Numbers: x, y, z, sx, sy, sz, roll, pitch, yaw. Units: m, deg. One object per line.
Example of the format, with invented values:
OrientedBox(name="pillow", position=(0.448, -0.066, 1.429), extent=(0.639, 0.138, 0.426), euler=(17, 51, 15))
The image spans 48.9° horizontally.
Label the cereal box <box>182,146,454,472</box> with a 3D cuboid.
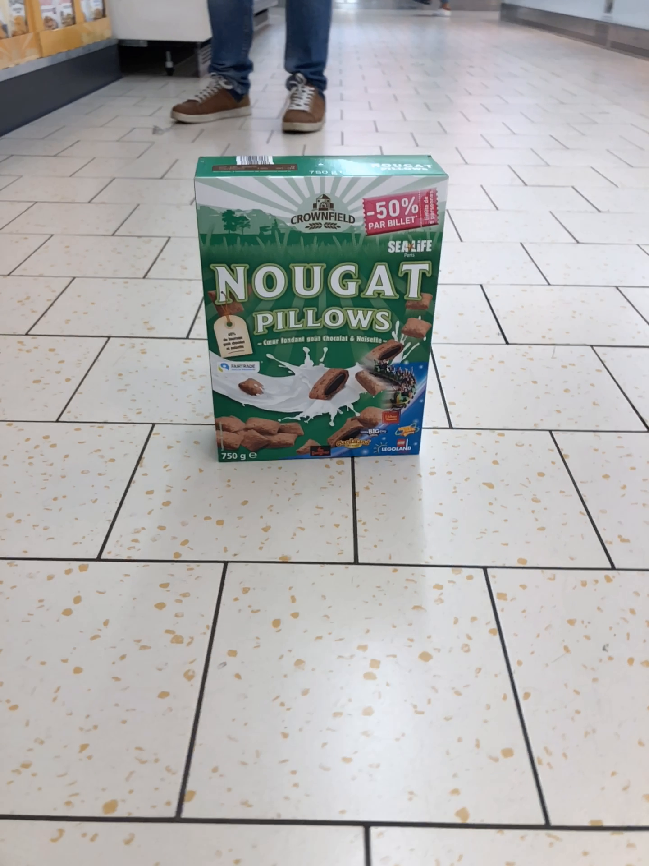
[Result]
OrientedBox(name="cereal box", position=(-0.008, -0.101, 0.622), extent=(0.200, 0.268, 0.070), euler=(-2, 32, -5))
